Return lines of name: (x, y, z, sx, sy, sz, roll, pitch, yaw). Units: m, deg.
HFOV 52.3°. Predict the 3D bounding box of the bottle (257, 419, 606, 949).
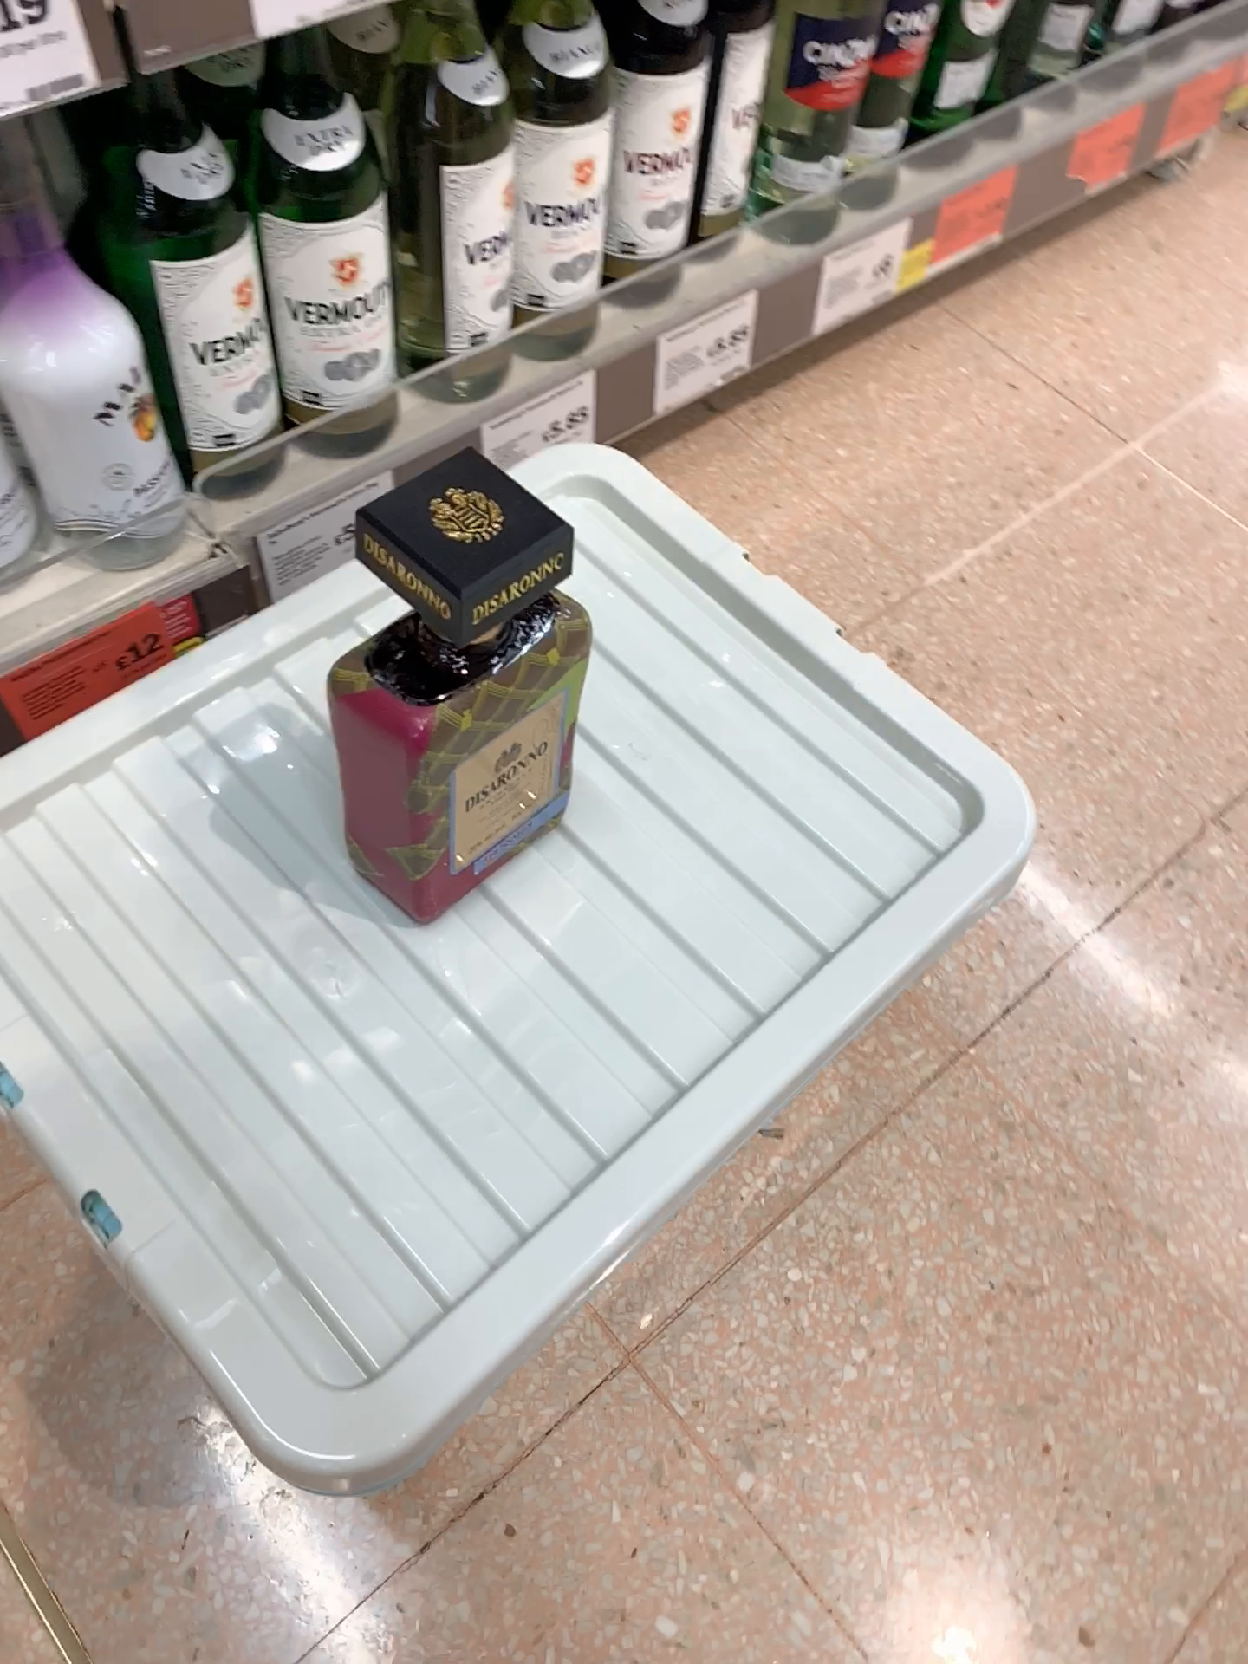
bottle: (-0.072, -0.048, 0.507, 0.060, 0.199, 0.100, 42, 63, 18)
